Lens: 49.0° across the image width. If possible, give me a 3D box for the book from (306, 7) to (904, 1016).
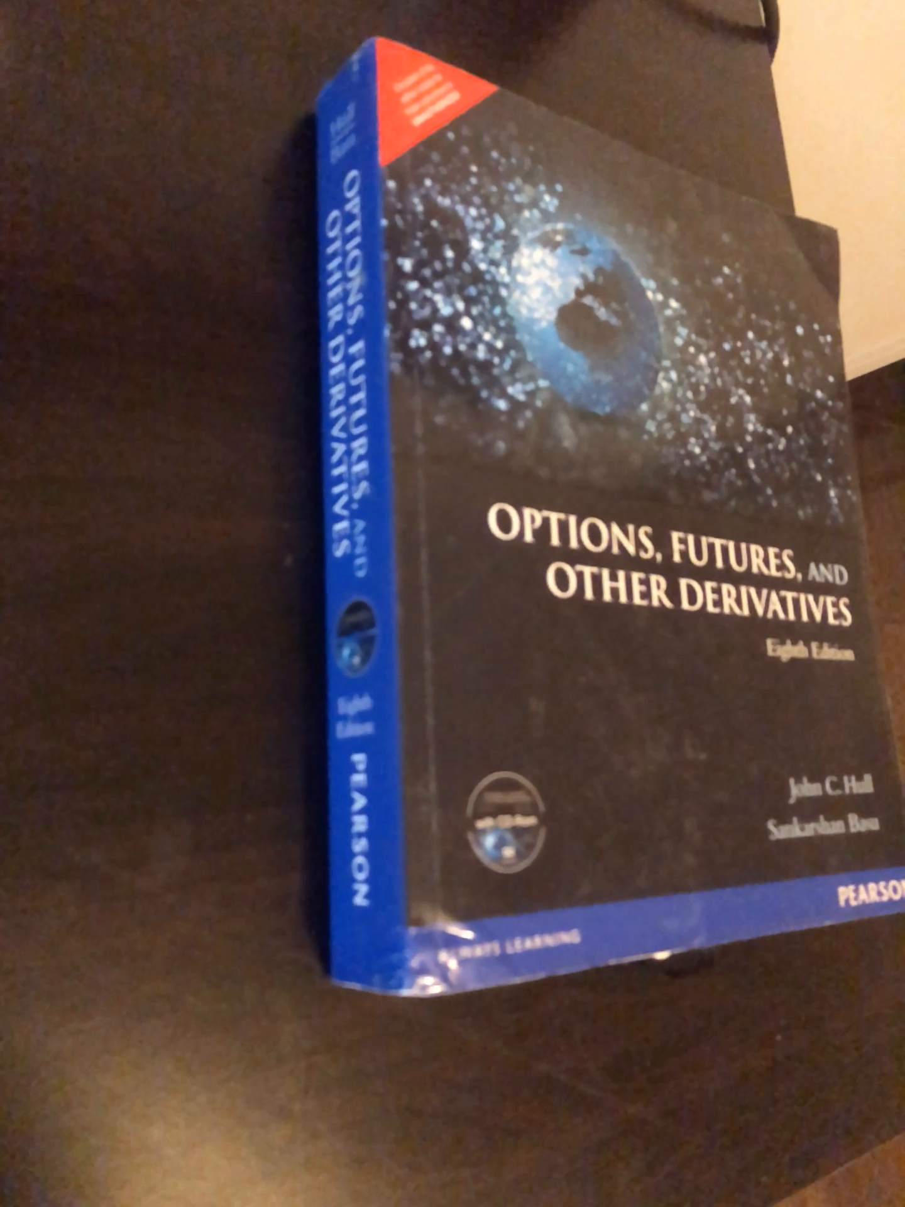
[{"bbox_3d":[0.059,-0.023,0.327,0.208,0.050,0.261,5,76,-35],"label":"book"}]
